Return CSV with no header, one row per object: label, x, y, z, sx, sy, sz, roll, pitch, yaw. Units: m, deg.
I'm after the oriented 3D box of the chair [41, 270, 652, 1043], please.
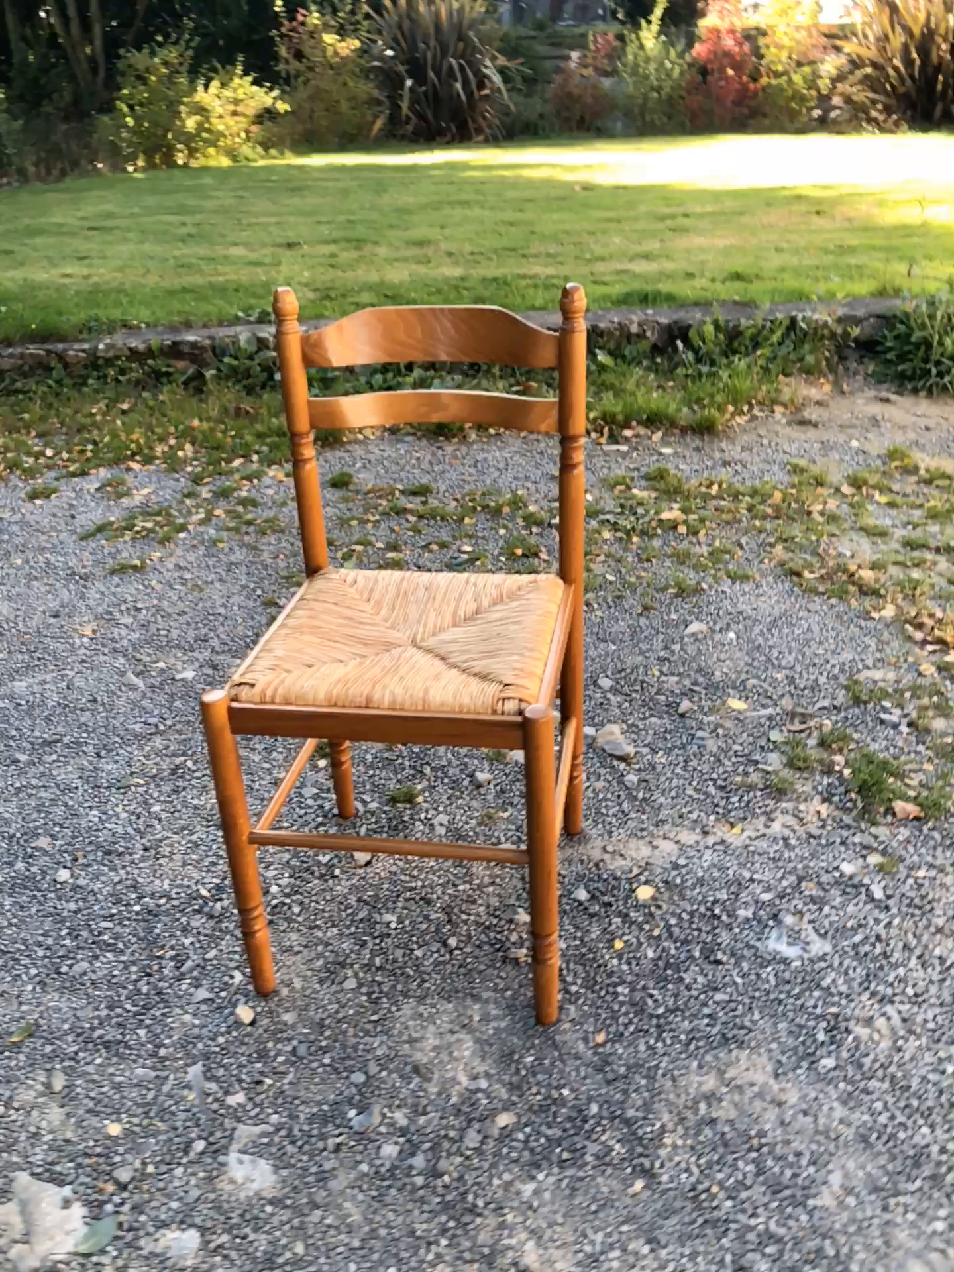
chair,-0.072,-0.004,1.261,0.510,0.736,0.523,3,30,8
